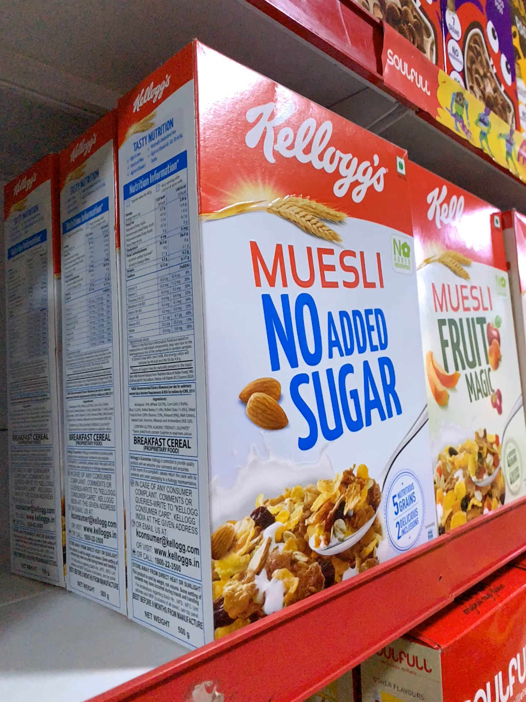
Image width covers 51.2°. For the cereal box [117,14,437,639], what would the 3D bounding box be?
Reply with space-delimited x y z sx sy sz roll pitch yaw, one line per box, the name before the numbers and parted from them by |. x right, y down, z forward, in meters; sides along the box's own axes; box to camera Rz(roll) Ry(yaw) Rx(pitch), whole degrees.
cereal box | 0.018 -0.012 0.291 0.050 0.241 0.180 -8 -7 43
